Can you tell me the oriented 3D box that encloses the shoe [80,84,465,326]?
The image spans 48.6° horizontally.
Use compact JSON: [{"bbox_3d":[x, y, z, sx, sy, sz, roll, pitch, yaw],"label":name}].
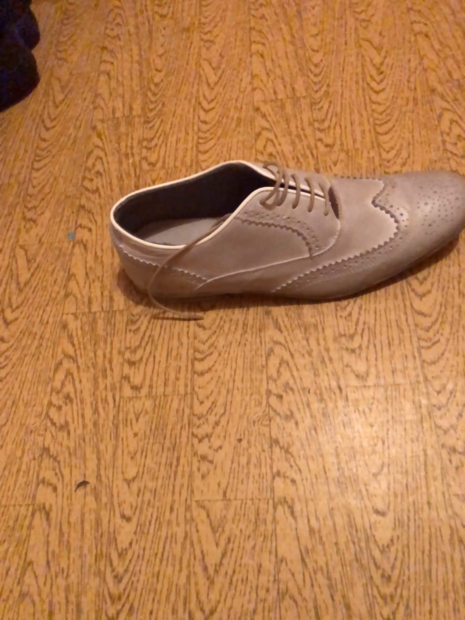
[{"bbox_3d":[0.047,-0.077,0.415,0.300,0.110,0.110,-7,63,4],"label":"shoe"}]
